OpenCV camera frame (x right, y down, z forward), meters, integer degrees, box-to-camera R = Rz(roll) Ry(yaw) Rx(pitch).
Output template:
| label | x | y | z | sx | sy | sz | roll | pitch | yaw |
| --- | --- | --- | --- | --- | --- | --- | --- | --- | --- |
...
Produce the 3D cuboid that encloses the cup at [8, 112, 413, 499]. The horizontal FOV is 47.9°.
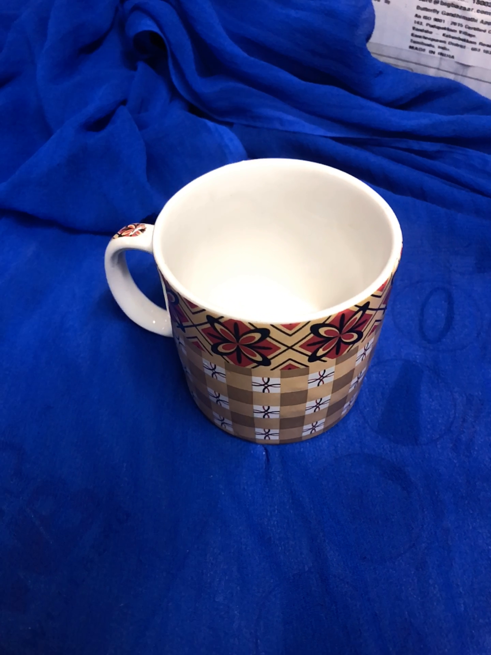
| label | x | y | z | sx | sy | sz | roll | pitch | yaw |
| --- | --- | --- | --- | --- | --- | --- | --- | --- | --- |
| cup | -0.008 | -0.004 | 0.202 | 0.100 | 0.099 | 0.070 | 17 | 54 | 10 |
